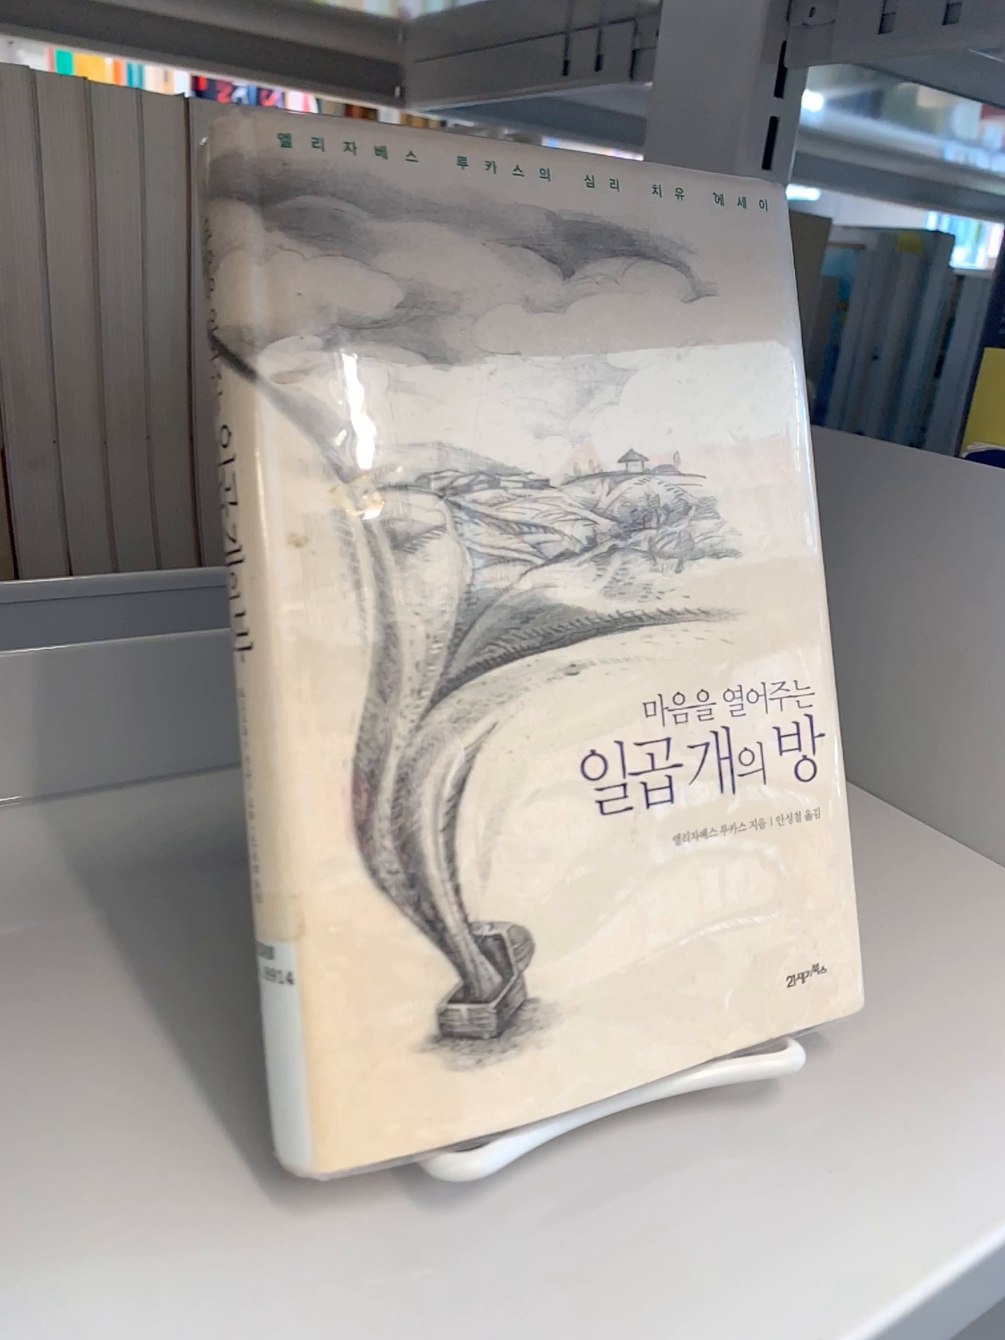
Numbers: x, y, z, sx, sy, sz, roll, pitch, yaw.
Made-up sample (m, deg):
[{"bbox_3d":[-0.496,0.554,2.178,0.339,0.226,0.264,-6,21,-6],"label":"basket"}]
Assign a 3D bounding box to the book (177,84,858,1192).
[{"bbox_3d":[0.011,-0.010,0.219,0.137,0.192,0.019,-5,1,-26],"label":"book"}]
